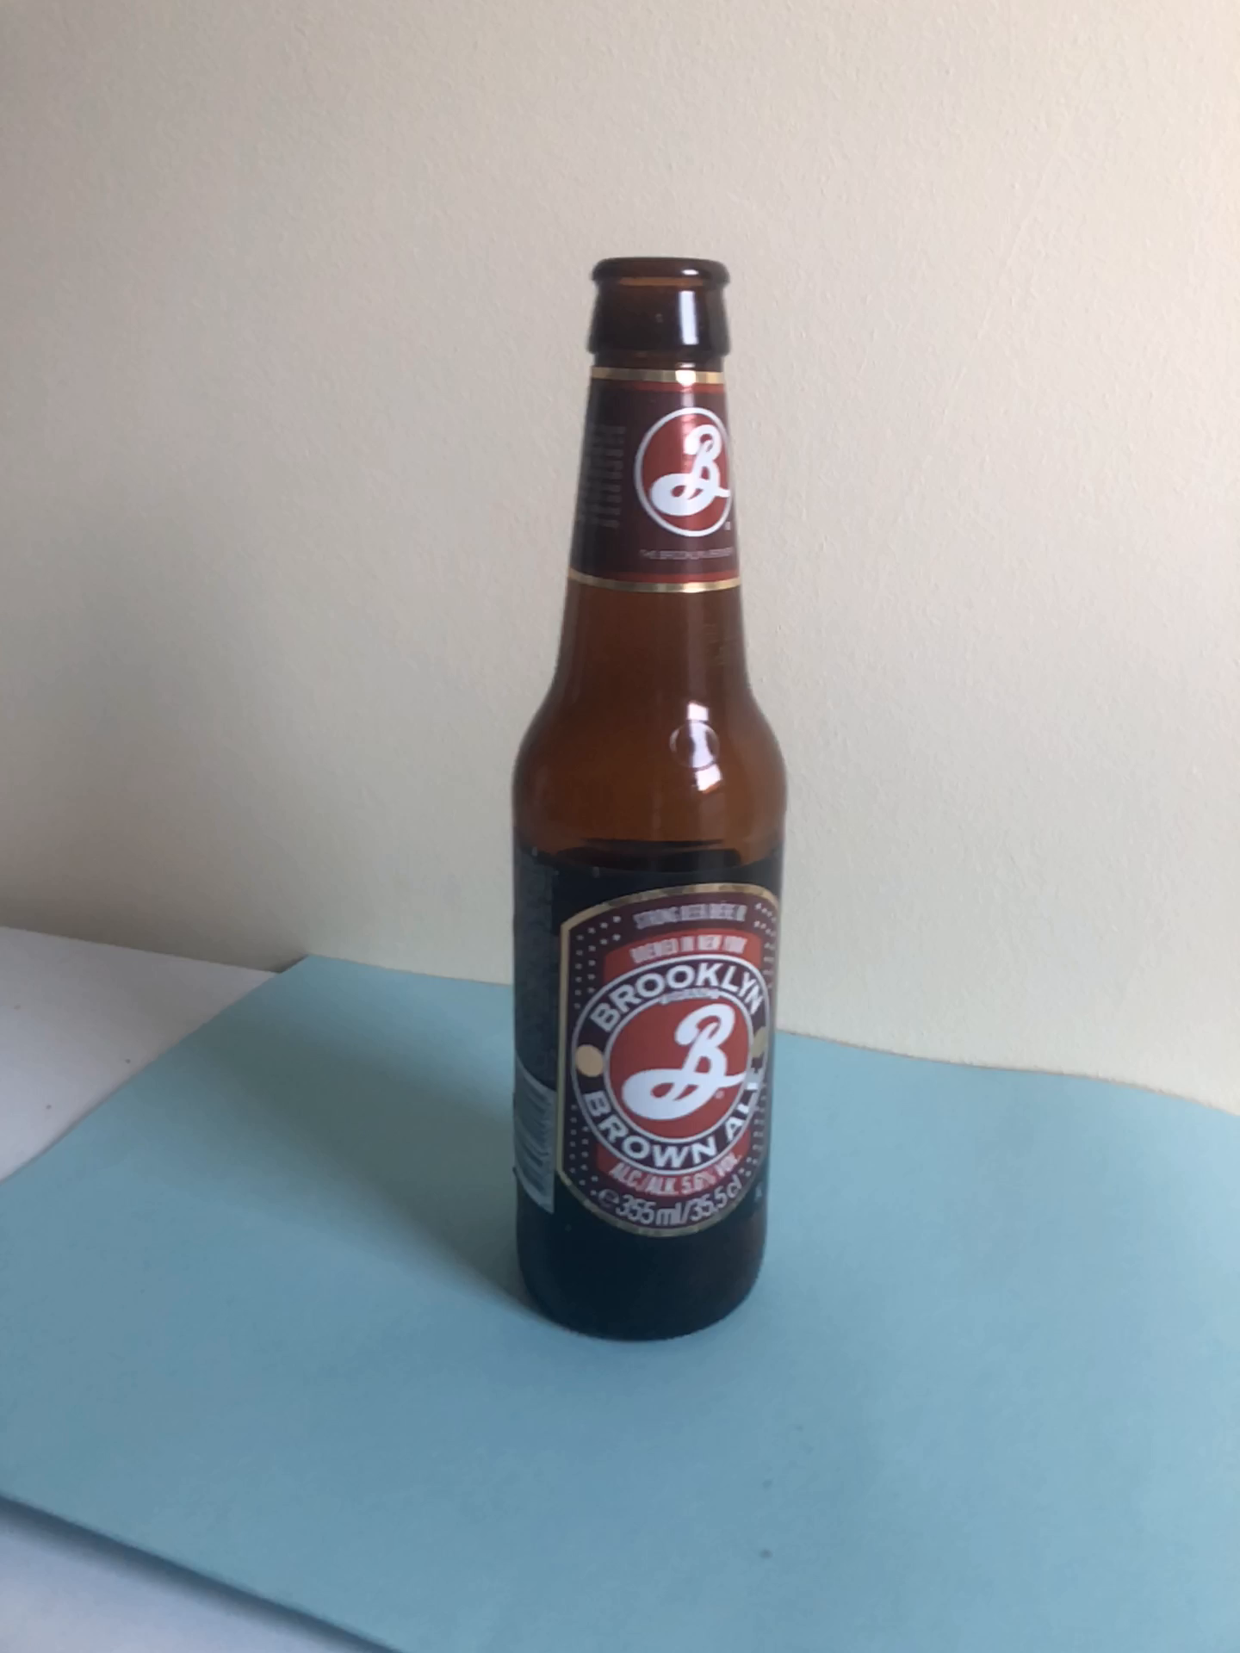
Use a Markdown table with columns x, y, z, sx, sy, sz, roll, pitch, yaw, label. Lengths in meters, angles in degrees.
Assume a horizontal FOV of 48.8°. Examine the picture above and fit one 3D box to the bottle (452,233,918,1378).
| x | y | z | sx | sy | sz | roll | pitch | yaw | label |
| --- | --- | --- | --- | --- | --- | --- | --- | --- | --- |
| 0.007 | -0.003 | 0.301 | 0.070 | 0.229 | 0.070 | 1 | 19 | 0 | bottle |
